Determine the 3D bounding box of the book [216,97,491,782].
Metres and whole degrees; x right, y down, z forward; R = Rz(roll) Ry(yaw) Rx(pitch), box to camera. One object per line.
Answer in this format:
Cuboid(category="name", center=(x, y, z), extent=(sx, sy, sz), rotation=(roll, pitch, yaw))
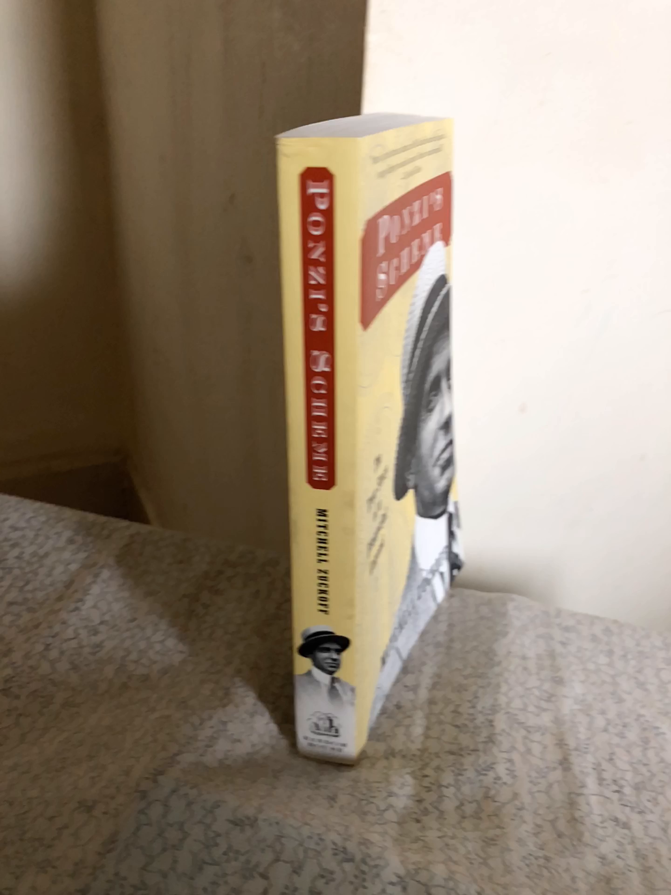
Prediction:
Cuboid(category="book", center=(0.016, -0.012, 0.278), extent=(0.040, 0.209, 0.141), rotation=(9, 28, 19))
